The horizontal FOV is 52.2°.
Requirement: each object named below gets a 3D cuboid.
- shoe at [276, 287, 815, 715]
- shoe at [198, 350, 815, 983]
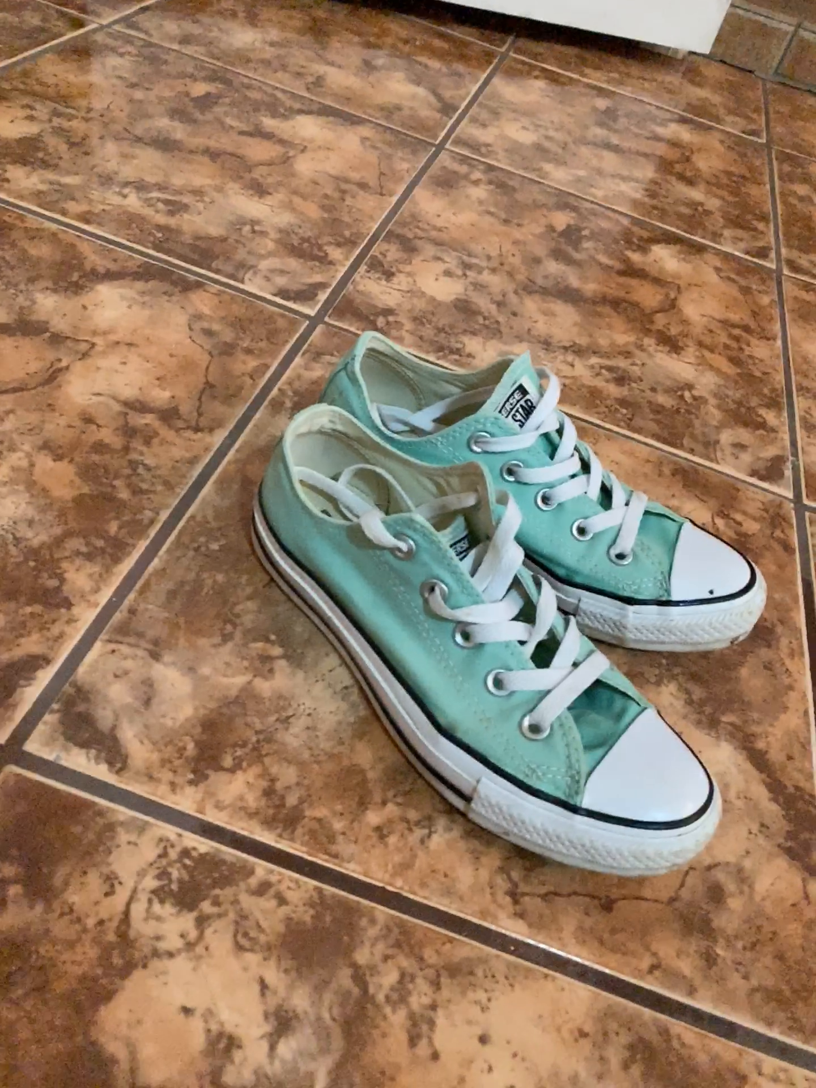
[{"bbox_3d":[0.068,-0.027,0.420,0.243,0.084,0.095,26,45,8],"label":"shoe"},{"bbox_3d":[0.027,0.035,0.350,0.244,0.094,0.098,42,49,22],"label":"shoe"}]
